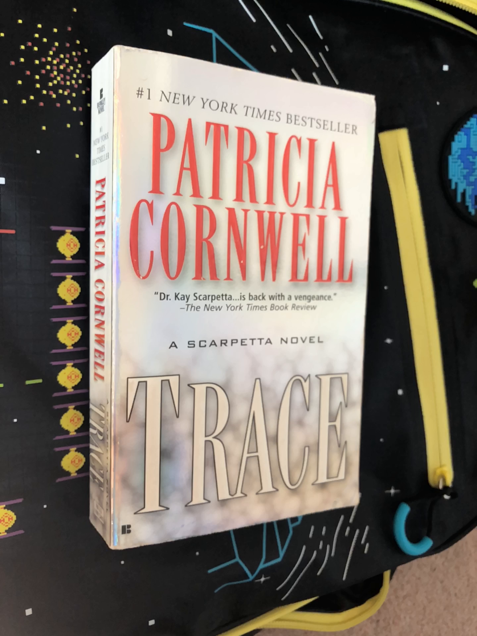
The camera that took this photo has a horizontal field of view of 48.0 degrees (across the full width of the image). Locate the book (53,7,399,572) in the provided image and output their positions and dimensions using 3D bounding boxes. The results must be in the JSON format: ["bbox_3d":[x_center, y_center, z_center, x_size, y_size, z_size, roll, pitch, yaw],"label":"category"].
[{"bbox_3d":[-0.005,-0.007,0.203,0.120,0.040,0.170,-1,95,-23],"label":"book"}]
